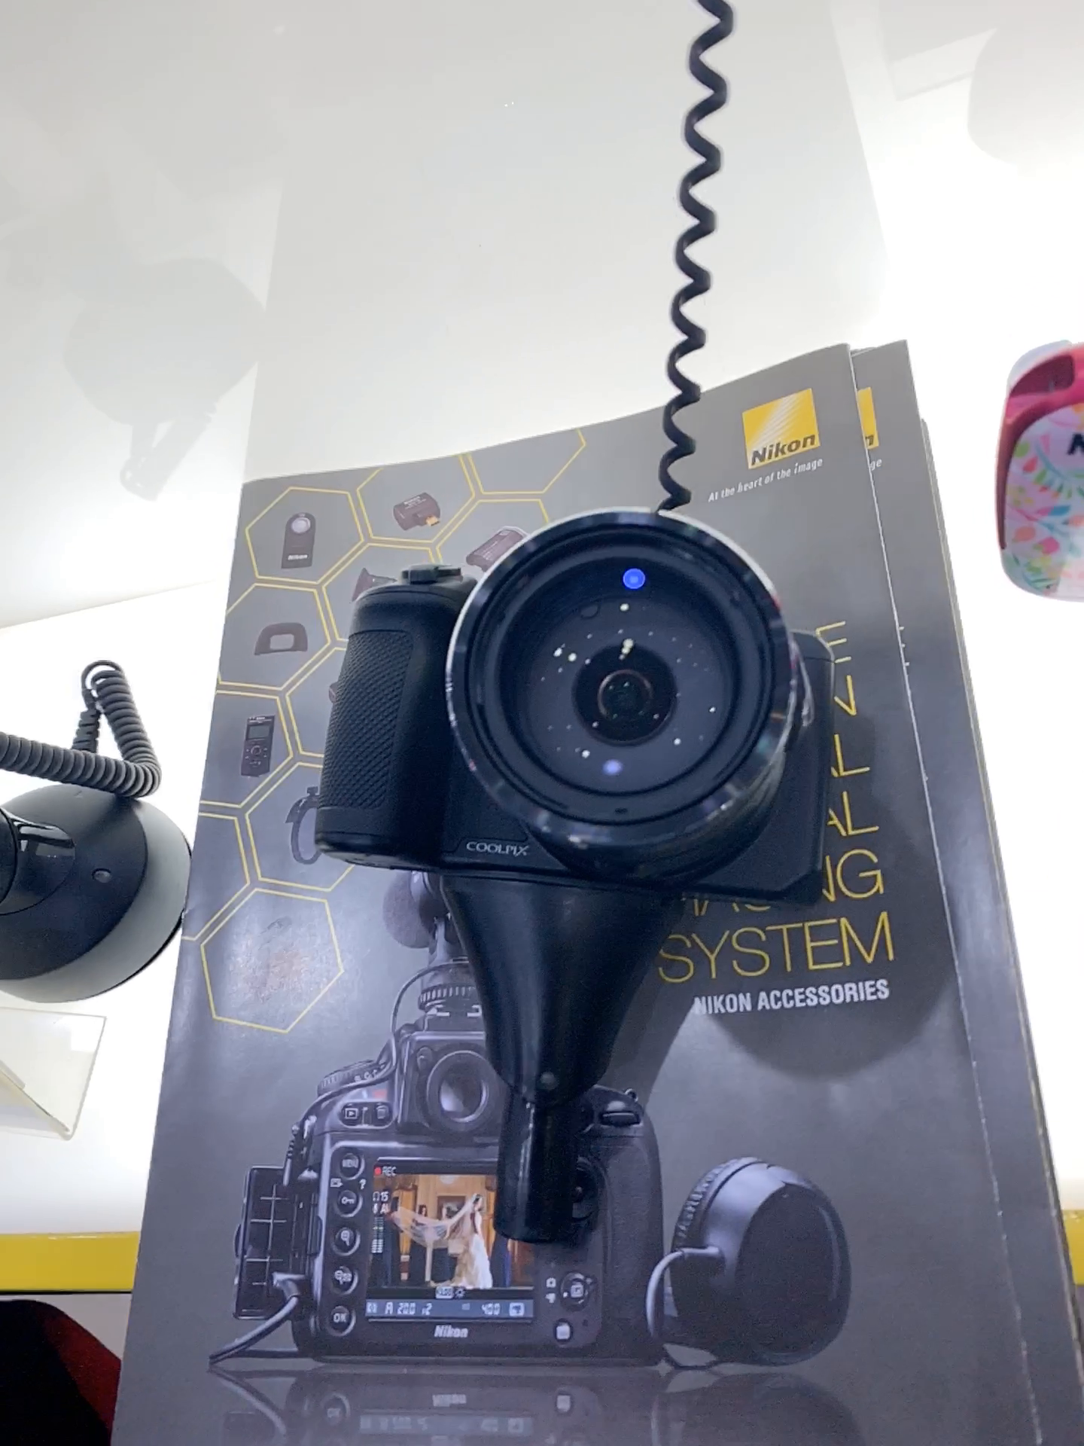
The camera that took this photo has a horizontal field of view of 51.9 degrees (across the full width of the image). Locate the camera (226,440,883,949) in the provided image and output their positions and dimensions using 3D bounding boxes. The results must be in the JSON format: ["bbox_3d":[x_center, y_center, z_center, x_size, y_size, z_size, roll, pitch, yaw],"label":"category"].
[{"bbox_3d":[0.009,-0.002,0.254,0.120,0.080,0.090,3,79,22],"label":"camera"}]
